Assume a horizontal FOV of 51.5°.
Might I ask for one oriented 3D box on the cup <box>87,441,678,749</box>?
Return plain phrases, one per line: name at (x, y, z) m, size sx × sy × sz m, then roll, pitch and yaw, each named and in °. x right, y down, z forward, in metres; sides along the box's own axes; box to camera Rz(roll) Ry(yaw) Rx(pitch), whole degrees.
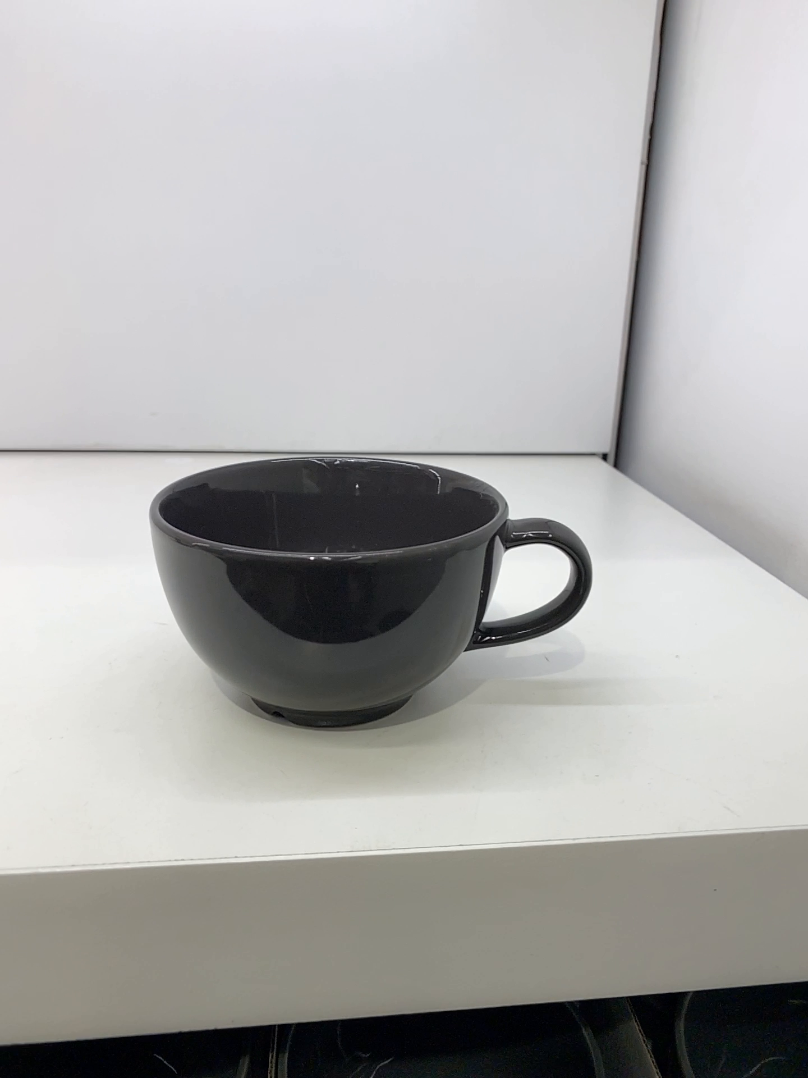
cup at (-0.006, 0.008, 0.244) m, size 0.130 × 0.050 × 0.110 m, roll 1°, pitch 17°, yaw -2°
